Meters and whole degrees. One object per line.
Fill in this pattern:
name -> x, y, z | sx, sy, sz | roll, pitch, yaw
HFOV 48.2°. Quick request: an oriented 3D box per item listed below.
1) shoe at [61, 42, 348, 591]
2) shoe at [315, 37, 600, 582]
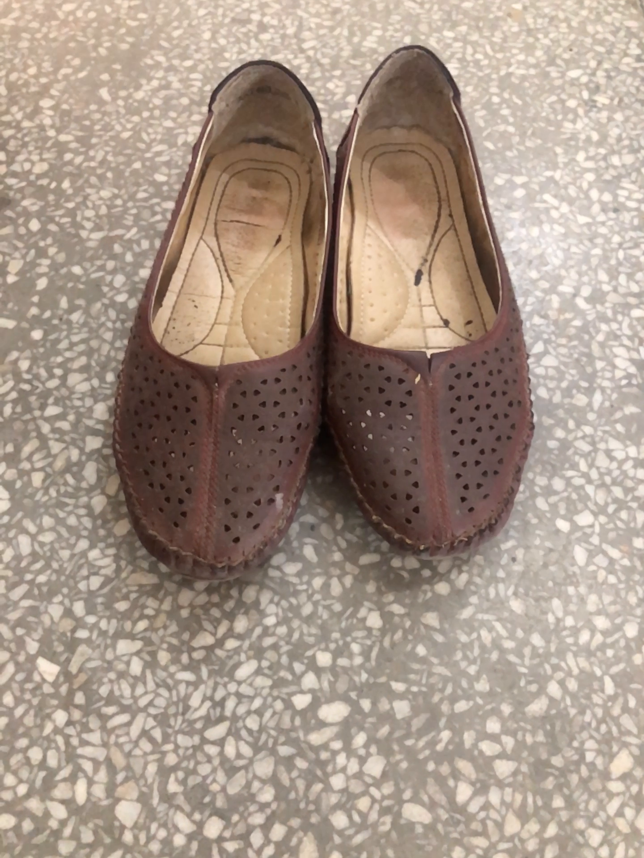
shoe -> -0.038, -0.061, 0.322 | 0.090, 0.060, 0.250 | 3, 64, 0
shoe -> 0.044, -0.064, 0.320 | 0.090, 0.060, 0.250 | 0, 64, -2
